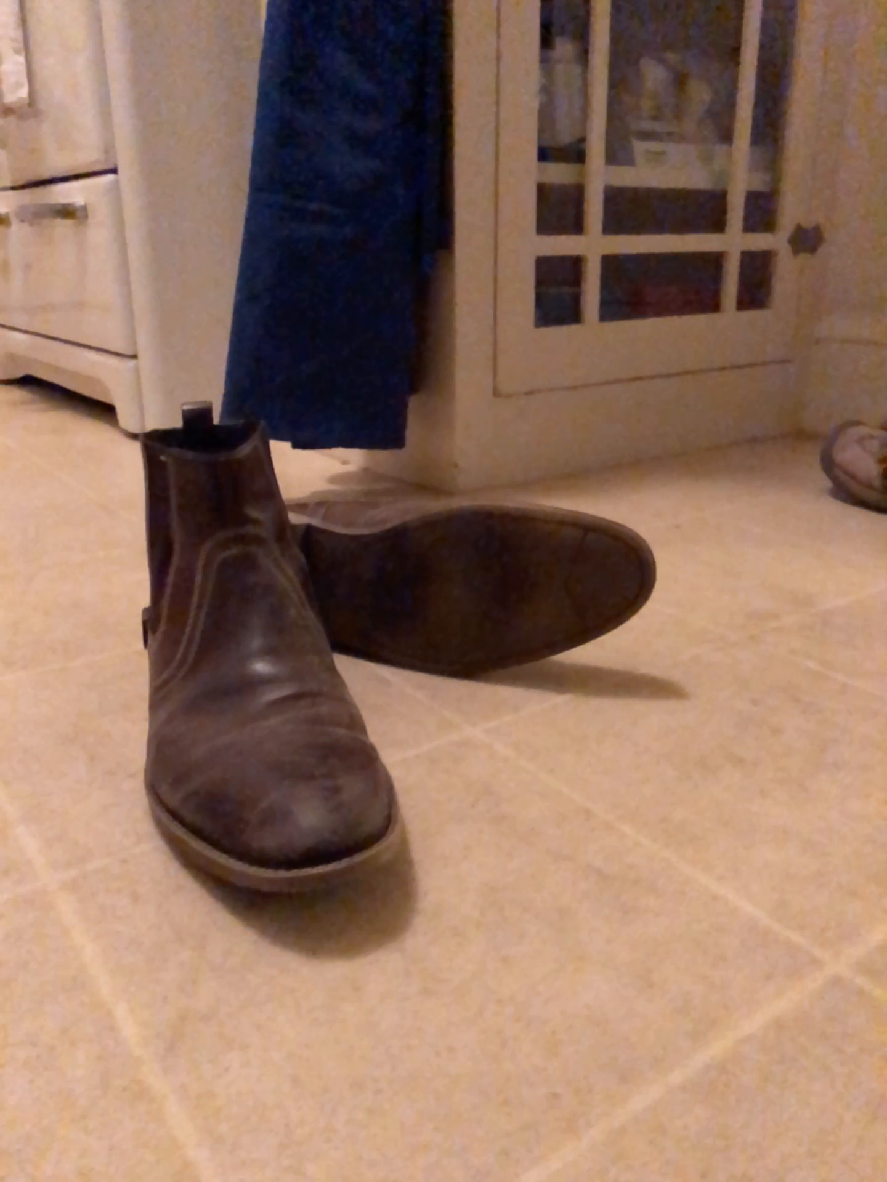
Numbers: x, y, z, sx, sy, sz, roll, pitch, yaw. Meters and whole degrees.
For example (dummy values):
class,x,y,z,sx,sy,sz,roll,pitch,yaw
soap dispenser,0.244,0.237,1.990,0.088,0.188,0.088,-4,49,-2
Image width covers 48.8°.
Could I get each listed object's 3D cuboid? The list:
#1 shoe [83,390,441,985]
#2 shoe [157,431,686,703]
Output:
class,x,y,z,sx,sy,sz,roll,pitch,yaw
shoe,-0.099,0.007,0.475,0.111,0.160,0.314,-6,20,-16
shoe,-0.012,-0.032,0.666,0.313,0.111,0.162,8,19,22
